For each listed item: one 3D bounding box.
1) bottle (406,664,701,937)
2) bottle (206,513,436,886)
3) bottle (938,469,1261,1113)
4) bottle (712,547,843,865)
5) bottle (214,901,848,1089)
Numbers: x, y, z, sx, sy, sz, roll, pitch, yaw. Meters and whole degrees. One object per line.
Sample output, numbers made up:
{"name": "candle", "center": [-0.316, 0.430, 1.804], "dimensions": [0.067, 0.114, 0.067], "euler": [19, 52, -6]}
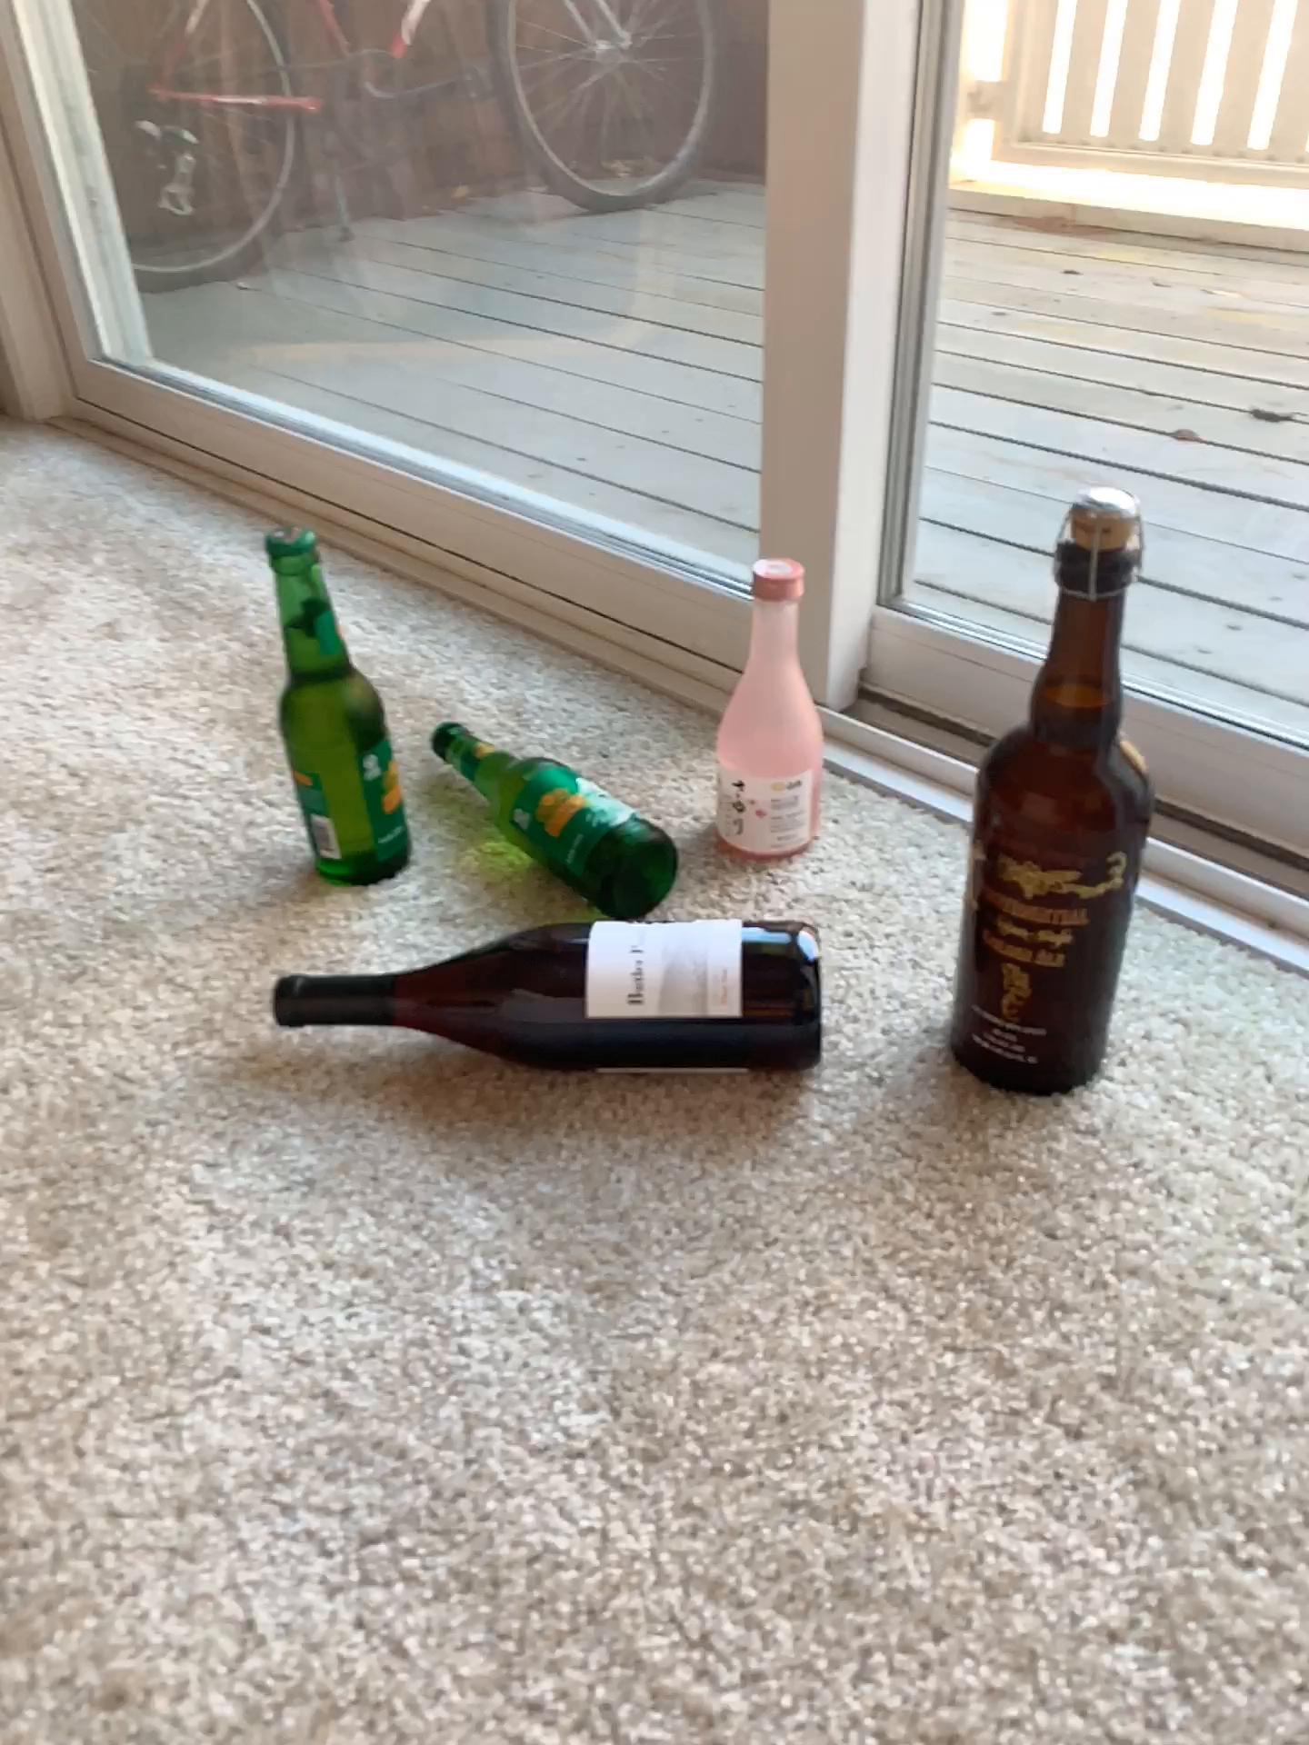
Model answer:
{"name": "bottle", "center": [-0.067, -0.052, 0.823], "dimensions": [0.060, 0.060, 0.231], "euler": [-25, 42, -29]}
{"name": "bottle", "center": [-0.186, -0.097, 0.774], "dimensions": [0.080, 0.199, 0.080], "euler": [-1, 35, 1]}
{"name": "bottle", "center": [0.189, -0.027, 0.611], "dimensions": [0.080, 0.288, 0.091], "euler": [1, 35, 4]}
{"name": "bottle", "center": [0.070, -0.098, 0.794], "dimensions": [0.070, 0.169, 0.080], "euler": [1, 35, 4]}
{"name": "bottle", "center": [-0.056, 0.059, 0.653], "dimensions": [0.290, 0.060, 0.070], "euler": [0, 35, 1]}
